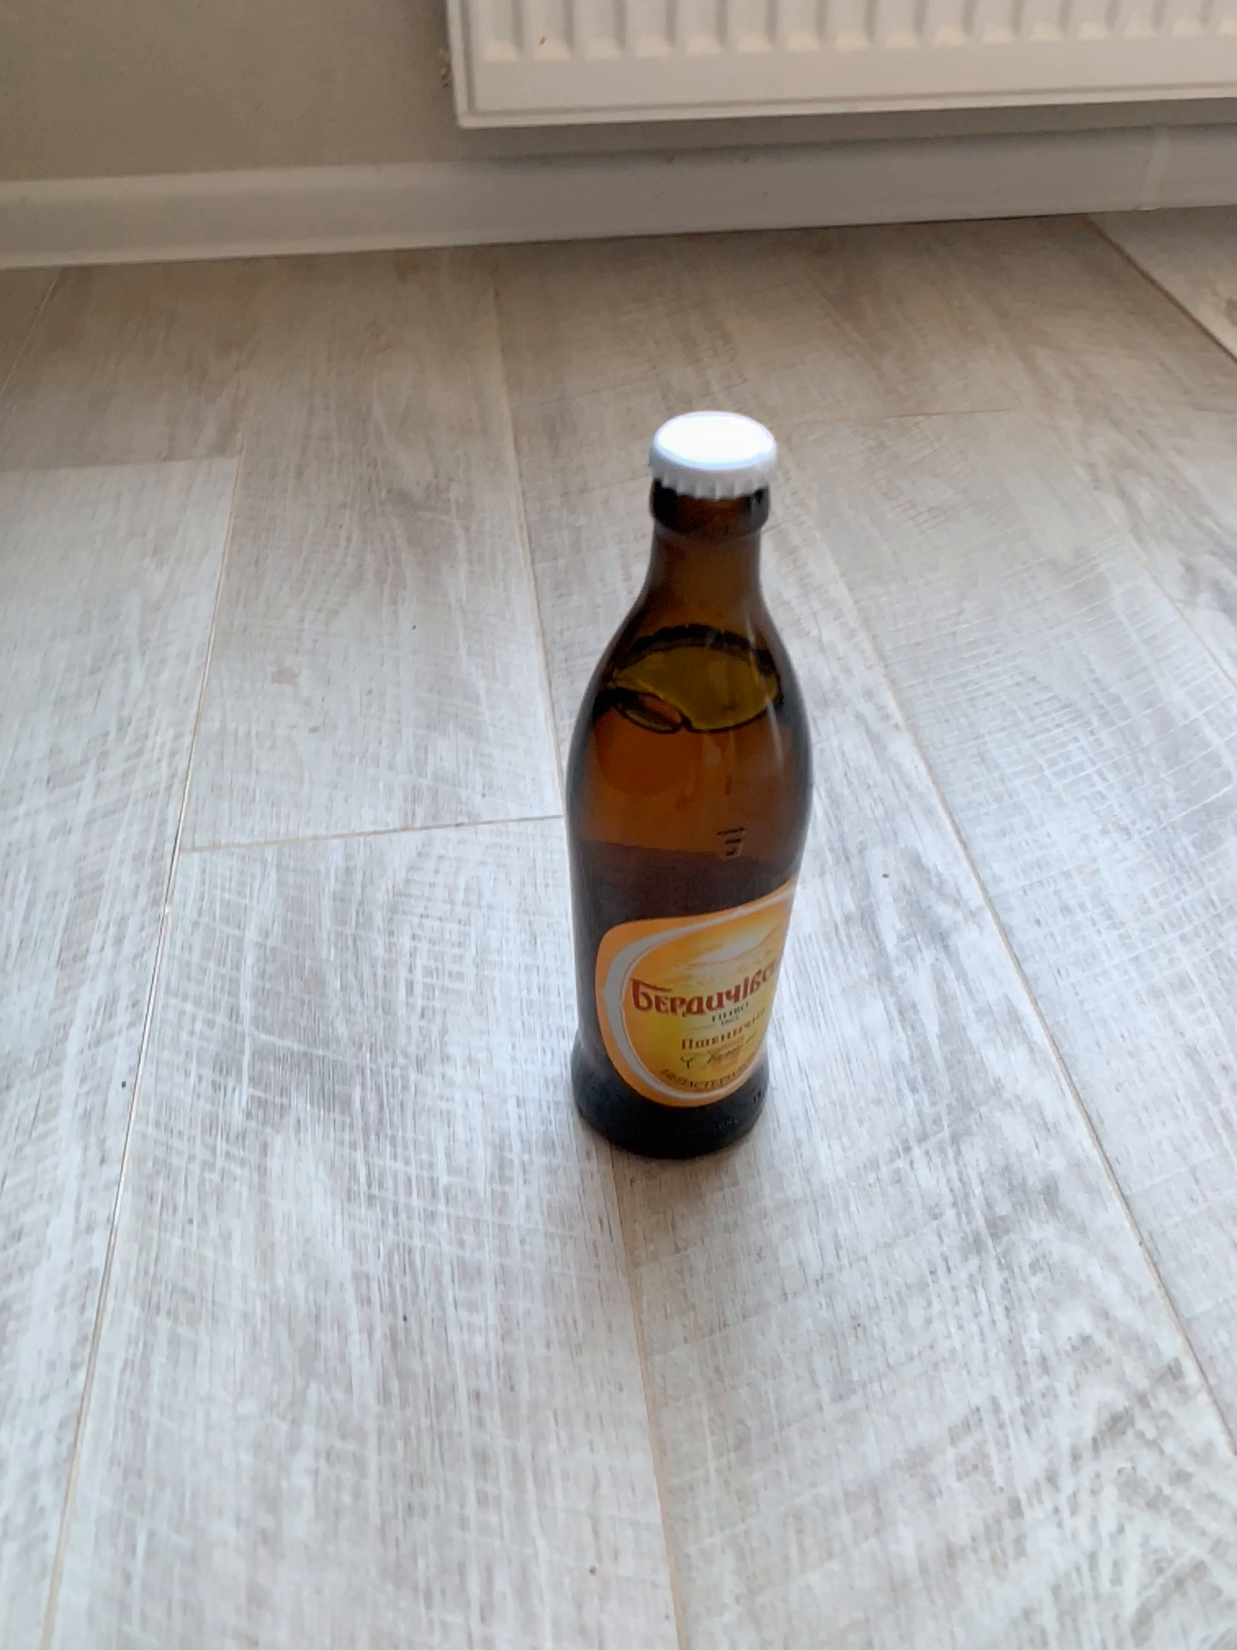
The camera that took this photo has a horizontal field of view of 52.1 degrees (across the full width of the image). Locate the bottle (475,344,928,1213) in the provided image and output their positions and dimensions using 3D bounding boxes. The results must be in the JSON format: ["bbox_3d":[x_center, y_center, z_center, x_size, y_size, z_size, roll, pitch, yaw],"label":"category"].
[{"bbox_3d":[0.014,0.004,0.335,0.070,0.229,0.070,0,44,0],"label":"bottle"}]
